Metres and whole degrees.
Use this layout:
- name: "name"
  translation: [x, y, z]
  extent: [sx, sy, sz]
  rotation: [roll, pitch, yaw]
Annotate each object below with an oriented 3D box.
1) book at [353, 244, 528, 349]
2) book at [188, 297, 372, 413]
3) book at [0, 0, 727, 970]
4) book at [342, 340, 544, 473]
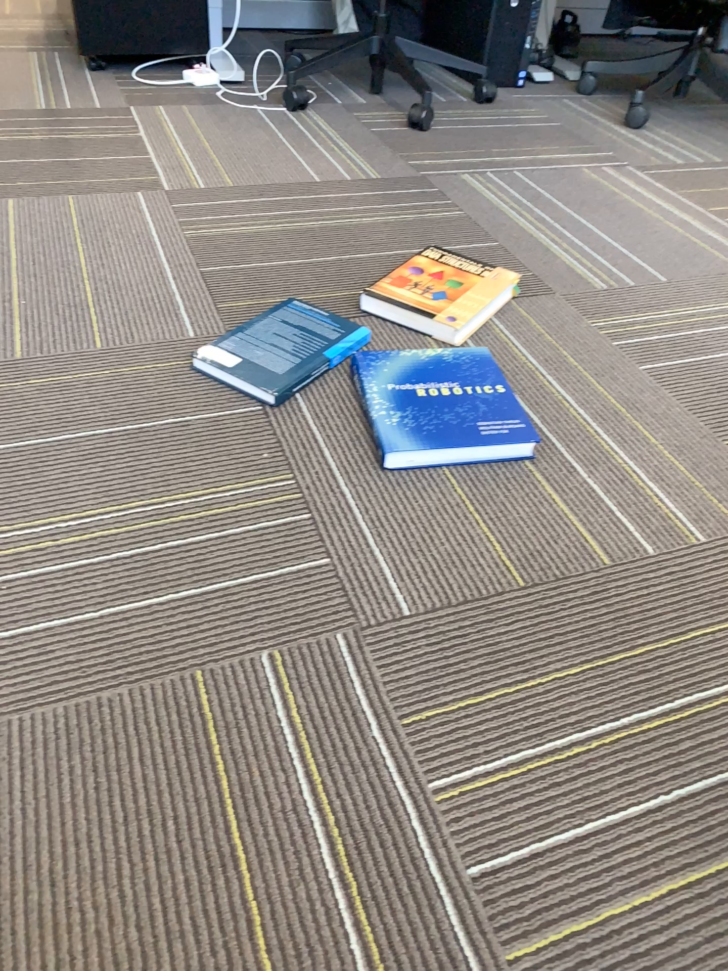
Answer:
- name: "book"
  translation: [0.137, -0.335, 1.288]
  extent: [0.200, 0.030, 0.261]
  rotation: [26, 45, 22]
- name: "book"
  translation: [-0.120, -0.202, 1.109]
  extent: [0.160, 0.030, 0.231]
  rotation: [27, 45, 22]
- name: "book"
  translation: [0.137, -0.335, 1.288]
  extent: [0.031, 1.491, 6.524]
  rotation: [26, 45, 21]
- name: "book"
  translation: [0.098, -0.118, 1.022]
  extent: [0.210, 0.030, 0.251]
  rotation: [-5, 42, -13]
